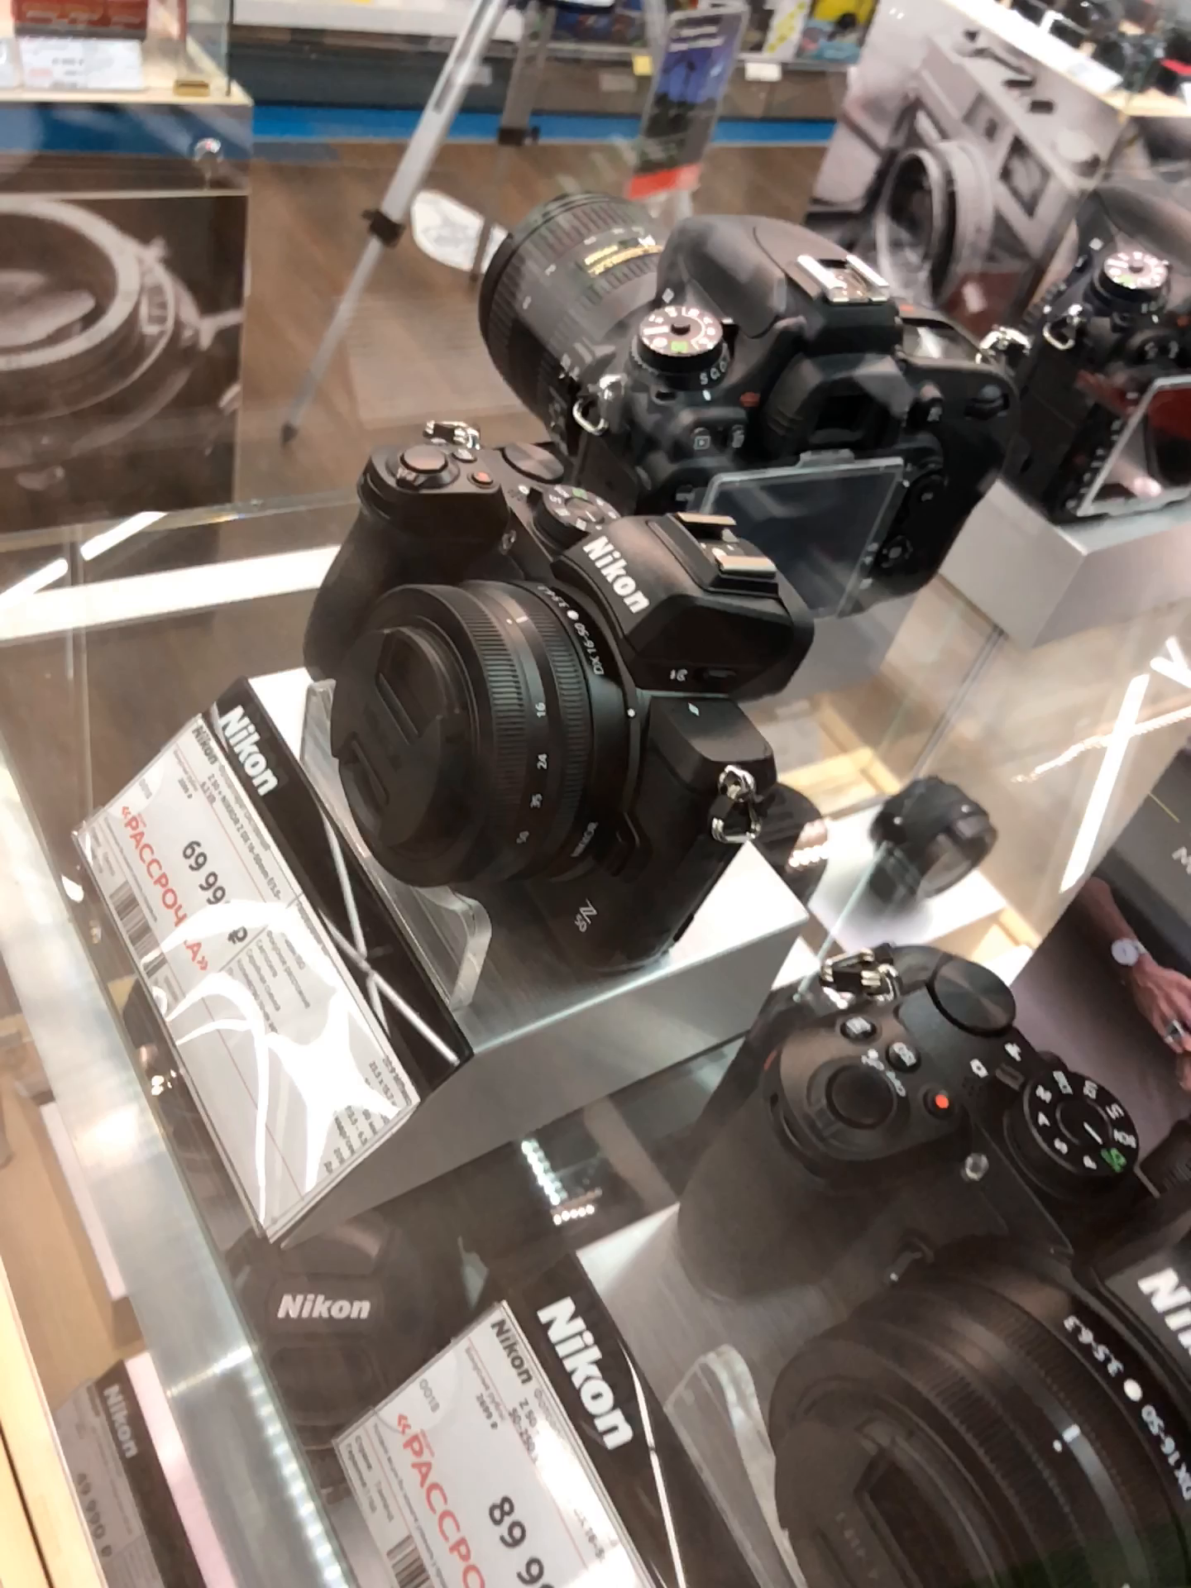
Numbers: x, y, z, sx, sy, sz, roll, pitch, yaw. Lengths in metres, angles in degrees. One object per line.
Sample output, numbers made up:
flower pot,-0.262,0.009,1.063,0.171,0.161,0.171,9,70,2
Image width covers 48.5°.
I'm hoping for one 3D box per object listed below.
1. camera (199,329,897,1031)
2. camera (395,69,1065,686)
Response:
camera,-0.019,-0.030,0.316,0.090,0.092,0.127,-6,49,-39
camera,0.032,-0.137,0.427,0.130,0.112,0.150,-13,56,-29
